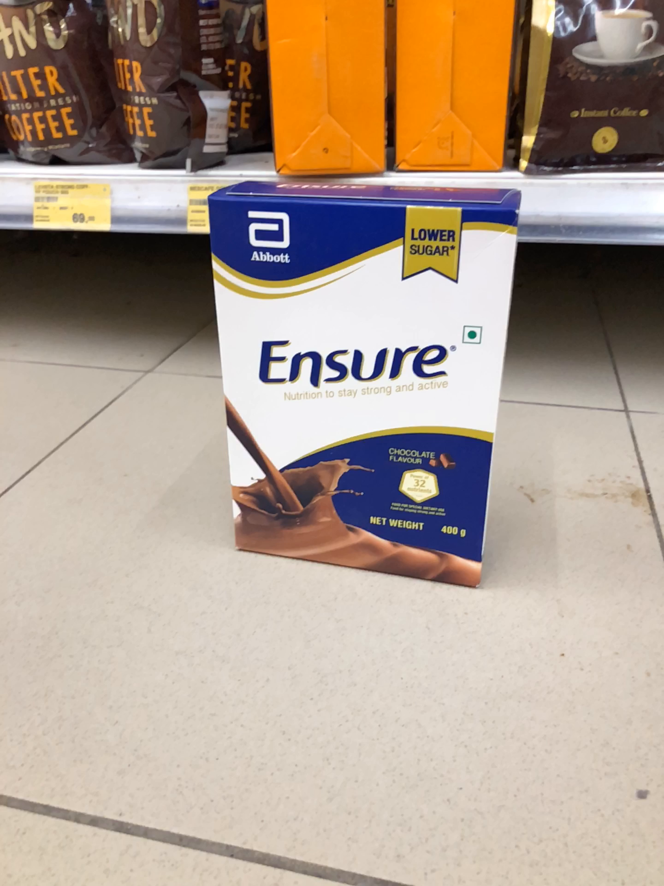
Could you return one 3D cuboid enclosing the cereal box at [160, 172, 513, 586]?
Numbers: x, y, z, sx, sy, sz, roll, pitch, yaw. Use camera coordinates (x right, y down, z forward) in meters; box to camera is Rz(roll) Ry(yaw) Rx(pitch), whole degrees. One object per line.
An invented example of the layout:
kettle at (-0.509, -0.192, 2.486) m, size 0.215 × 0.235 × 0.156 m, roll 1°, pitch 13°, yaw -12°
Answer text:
cereal box at (0.007, -0.032, 0.355) m, size 0.140 × 0.179 × 0.060 m, roll 5°, pitch 28°, yaw 15°
